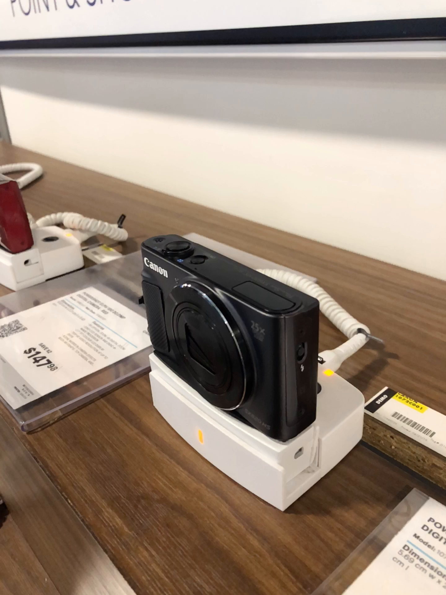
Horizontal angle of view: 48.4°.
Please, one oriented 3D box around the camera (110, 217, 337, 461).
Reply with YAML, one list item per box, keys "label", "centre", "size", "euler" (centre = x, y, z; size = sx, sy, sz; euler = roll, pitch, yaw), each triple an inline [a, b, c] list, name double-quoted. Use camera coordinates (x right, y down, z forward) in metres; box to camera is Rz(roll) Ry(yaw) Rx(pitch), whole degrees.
- label: "camera"
  centre: [-0.005, 0.010, 0.204]
  size: [0.030, 0.060, 0.100]
  euler: [-22, 33, -35]
